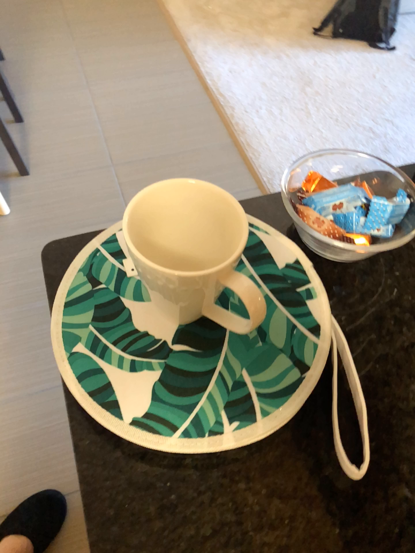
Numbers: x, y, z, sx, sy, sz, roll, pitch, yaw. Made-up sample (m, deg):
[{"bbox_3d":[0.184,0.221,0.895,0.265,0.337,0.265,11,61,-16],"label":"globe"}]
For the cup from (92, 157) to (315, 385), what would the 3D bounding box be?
[{"bbox_3d":[-0.005,-0.007,0.359,0.130,0.090,0.090,37,60,22],"label":"cup"}]
